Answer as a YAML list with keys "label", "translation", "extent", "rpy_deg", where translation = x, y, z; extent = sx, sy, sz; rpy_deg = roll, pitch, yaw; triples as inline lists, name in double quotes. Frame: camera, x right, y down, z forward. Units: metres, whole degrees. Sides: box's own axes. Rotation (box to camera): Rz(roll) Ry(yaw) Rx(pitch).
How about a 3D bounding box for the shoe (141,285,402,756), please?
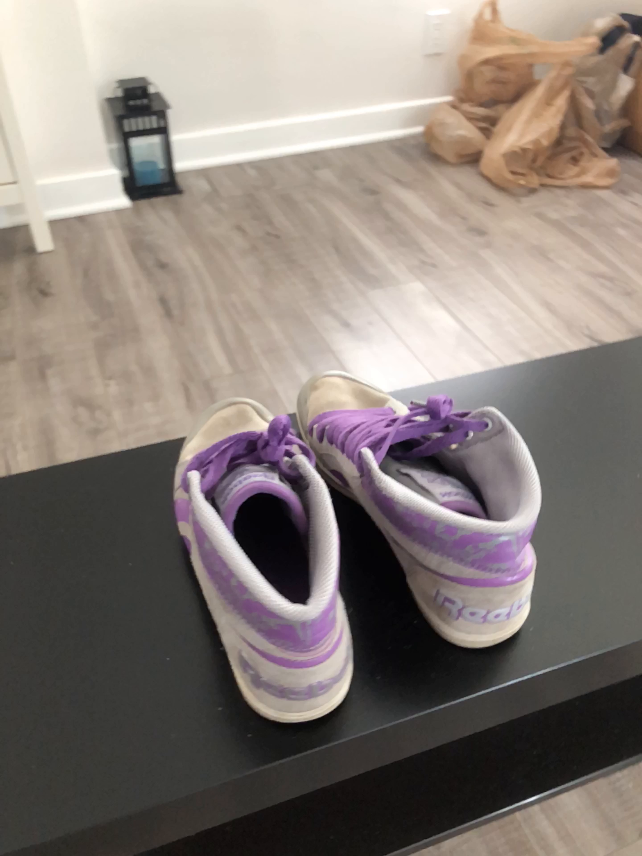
- label: "shoe"
  translation: [-0.040, 0.033, 0.404]
  extent: [0.090, 0.110, 0.241]
  rpy_deg: [-9, 42, -11]

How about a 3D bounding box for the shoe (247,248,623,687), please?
- label: "shoe"
  translation: [0.045, 0.007, 0.437]
  extent: [0.100, 0.120, 0.241]
  rpy_deg: [-16, 44, -18]
